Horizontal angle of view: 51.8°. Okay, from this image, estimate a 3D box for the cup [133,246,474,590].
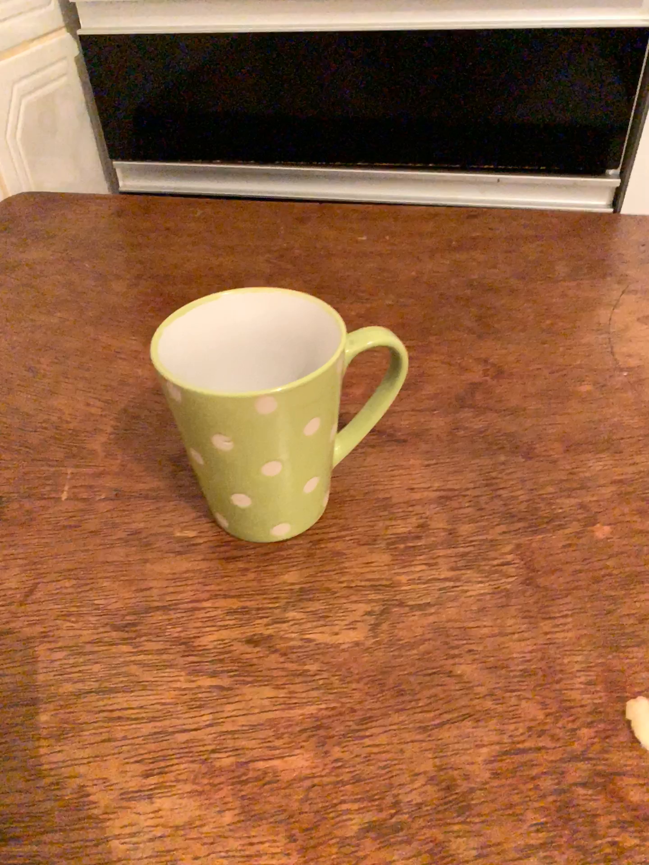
[{"bbox_3d":[-0.010,-0.012,0.321,0.120,0.099,0.090,-20,43,-19],"label":"cup"}]
